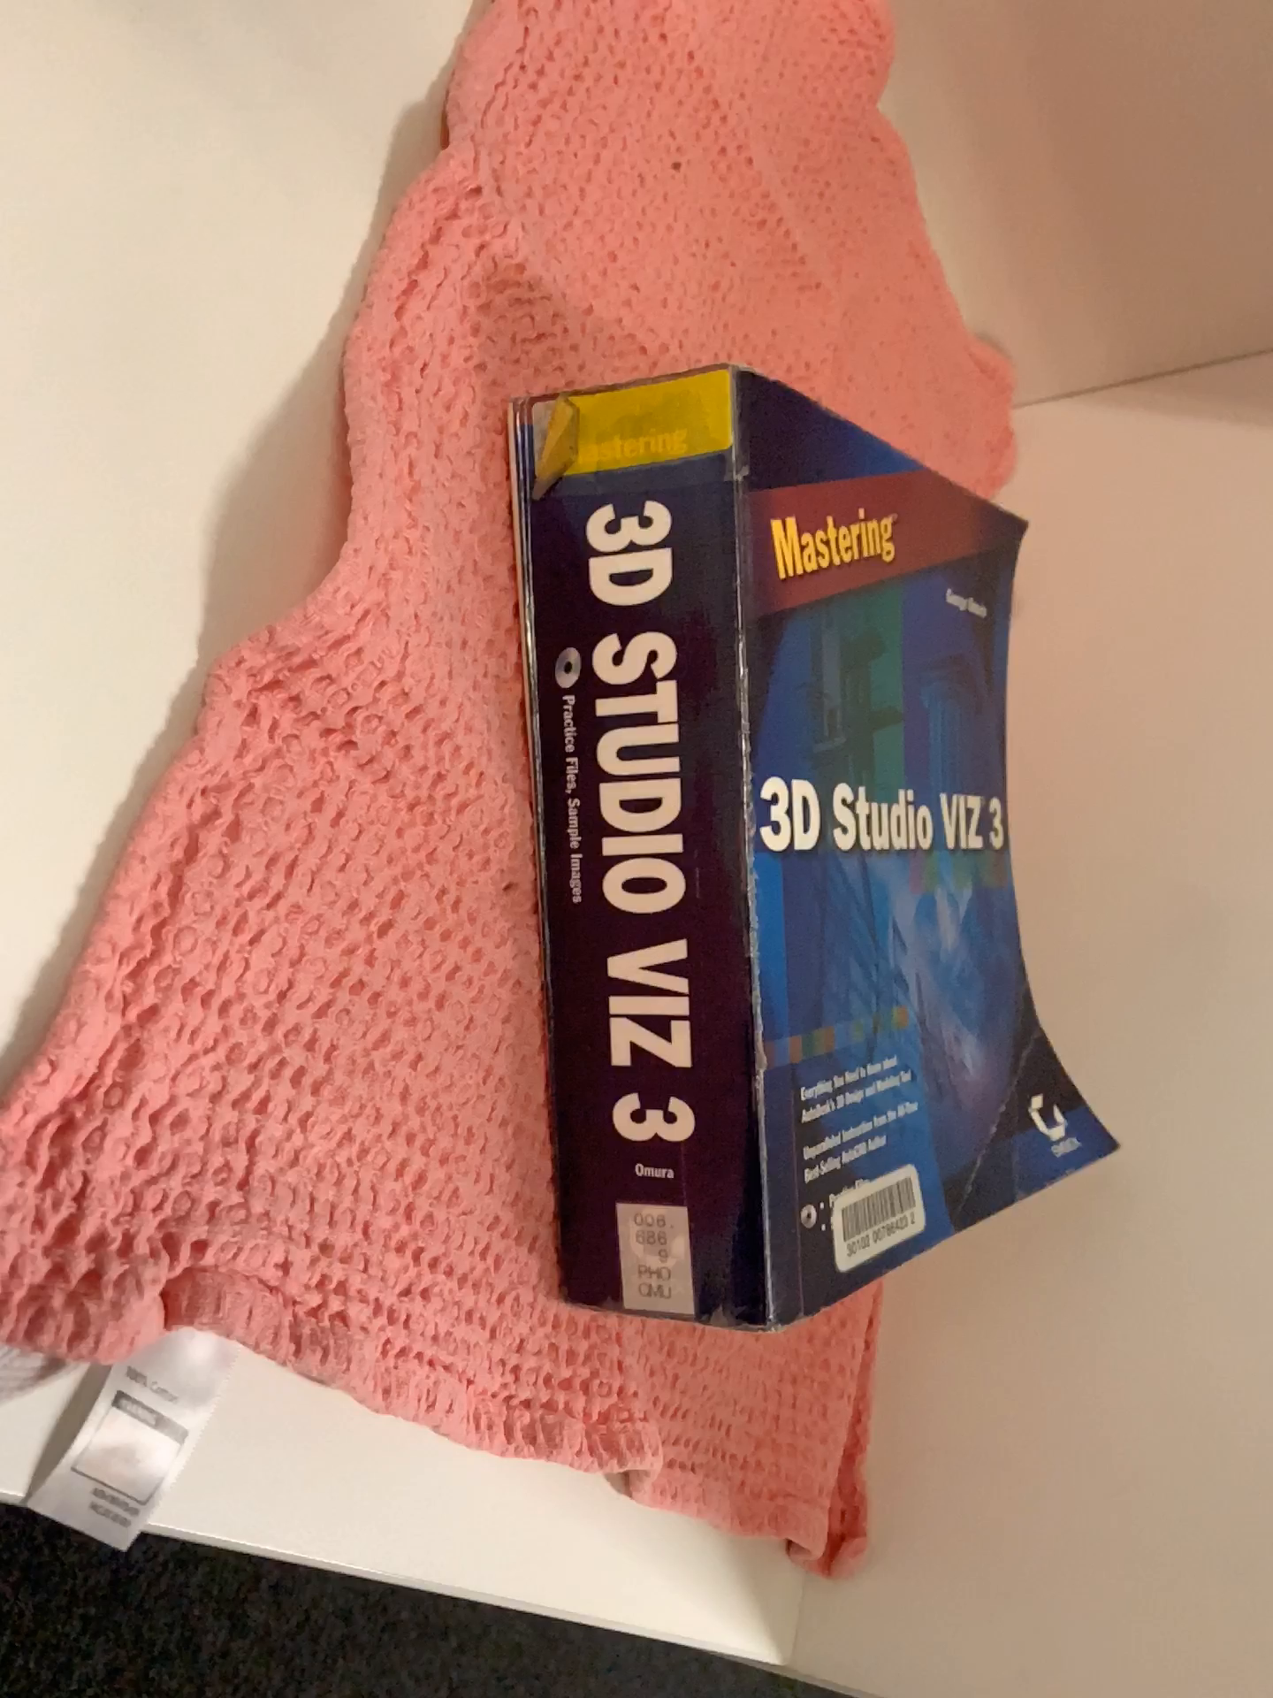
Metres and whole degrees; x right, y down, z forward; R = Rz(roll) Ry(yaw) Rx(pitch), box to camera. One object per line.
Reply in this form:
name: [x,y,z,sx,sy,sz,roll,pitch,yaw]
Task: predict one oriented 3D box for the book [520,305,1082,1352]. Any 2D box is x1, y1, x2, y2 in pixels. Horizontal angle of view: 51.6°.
book: [0.064,-0.005,0.398,0.207,0.077,0.231,-1,88,-58]
